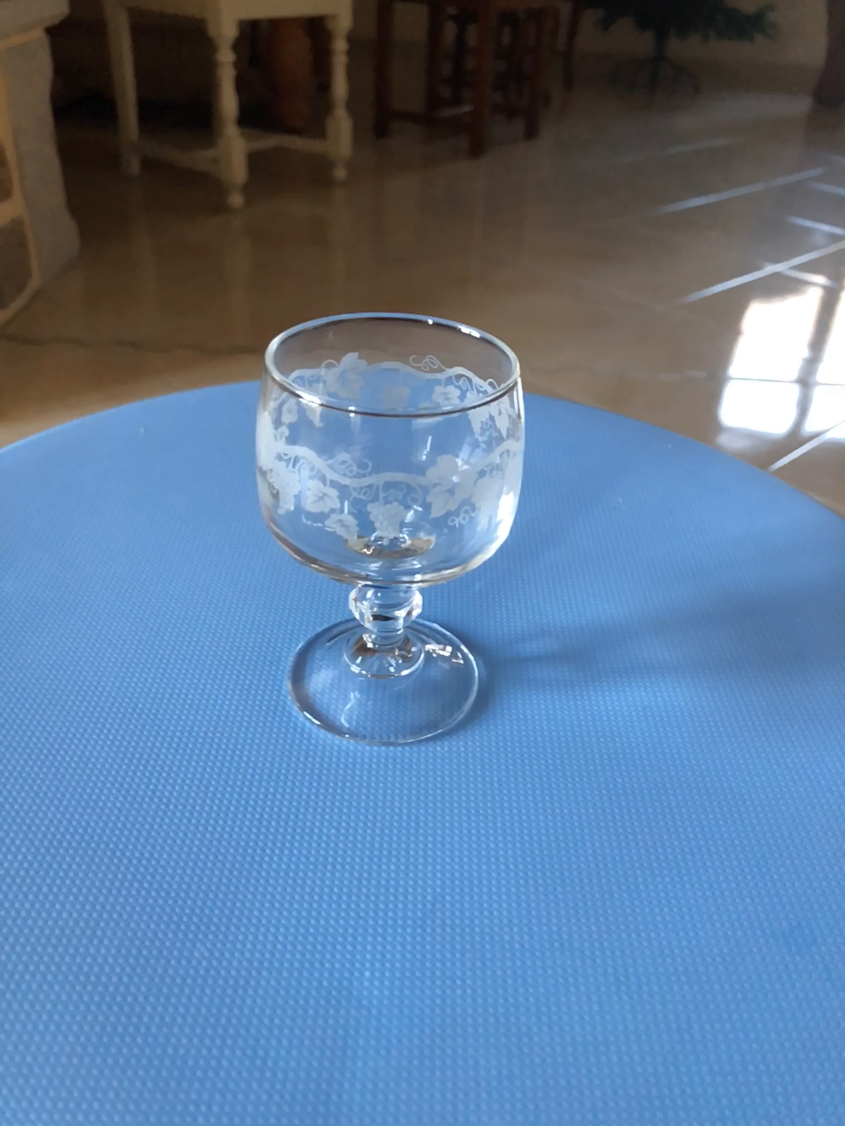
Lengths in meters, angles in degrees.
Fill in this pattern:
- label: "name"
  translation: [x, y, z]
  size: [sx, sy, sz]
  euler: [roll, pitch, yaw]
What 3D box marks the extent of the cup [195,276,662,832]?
- label: "cup"
  translation: [0.000, -0.006, 0.192]
  size: [0.060, 0.080, 0.060]
  euler: [3, 34, -2]
